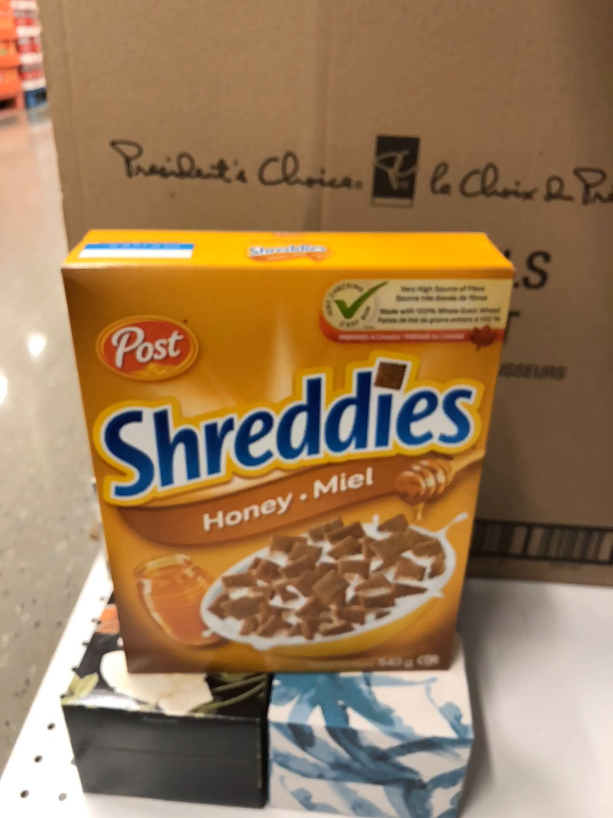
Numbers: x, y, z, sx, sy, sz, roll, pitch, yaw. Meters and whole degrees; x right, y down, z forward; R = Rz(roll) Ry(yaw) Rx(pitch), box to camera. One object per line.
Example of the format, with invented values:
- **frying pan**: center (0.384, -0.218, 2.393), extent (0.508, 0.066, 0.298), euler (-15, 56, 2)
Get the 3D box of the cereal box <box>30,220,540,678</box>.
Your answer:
- **cereal box**: center (-0.011, 0.033, 0.388), extent (0.220, 0.259, 0.060), euler (0, 29, -3)
